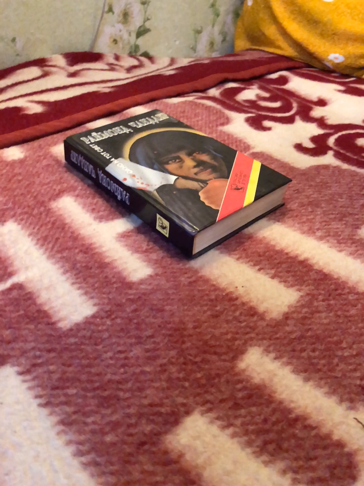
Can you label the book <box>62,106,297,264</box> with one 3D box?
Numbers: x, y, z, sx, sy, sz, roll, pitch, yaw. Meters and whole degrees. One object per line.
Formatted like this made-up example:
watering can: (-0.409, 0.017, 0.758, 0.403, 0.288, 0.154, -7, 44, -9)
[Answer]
book: (-0.009, -0.076, 0.419, 0.134, 0.032, 0.209, -29, 51, -32)
